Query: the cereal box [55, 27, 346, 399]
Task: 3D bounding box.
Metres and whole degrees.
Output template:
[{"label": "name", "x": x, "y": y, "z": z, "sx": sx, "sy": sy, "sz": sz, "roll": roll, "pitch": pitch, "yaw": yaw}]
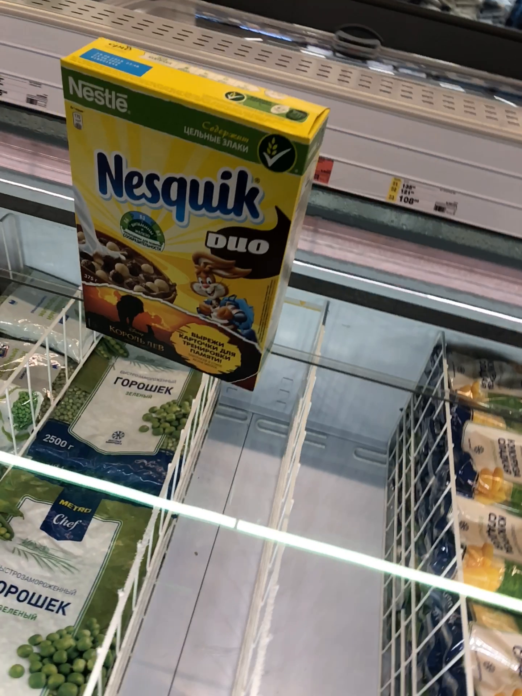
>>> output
[{"label": "cereal box", "x": -0.062, "y": -0.103, "z": 0.514, "sx": 0.200, "sy": 0.278, "sz": 0.070, "roll": 20, "pitch": 45, "yaw": 9}]
